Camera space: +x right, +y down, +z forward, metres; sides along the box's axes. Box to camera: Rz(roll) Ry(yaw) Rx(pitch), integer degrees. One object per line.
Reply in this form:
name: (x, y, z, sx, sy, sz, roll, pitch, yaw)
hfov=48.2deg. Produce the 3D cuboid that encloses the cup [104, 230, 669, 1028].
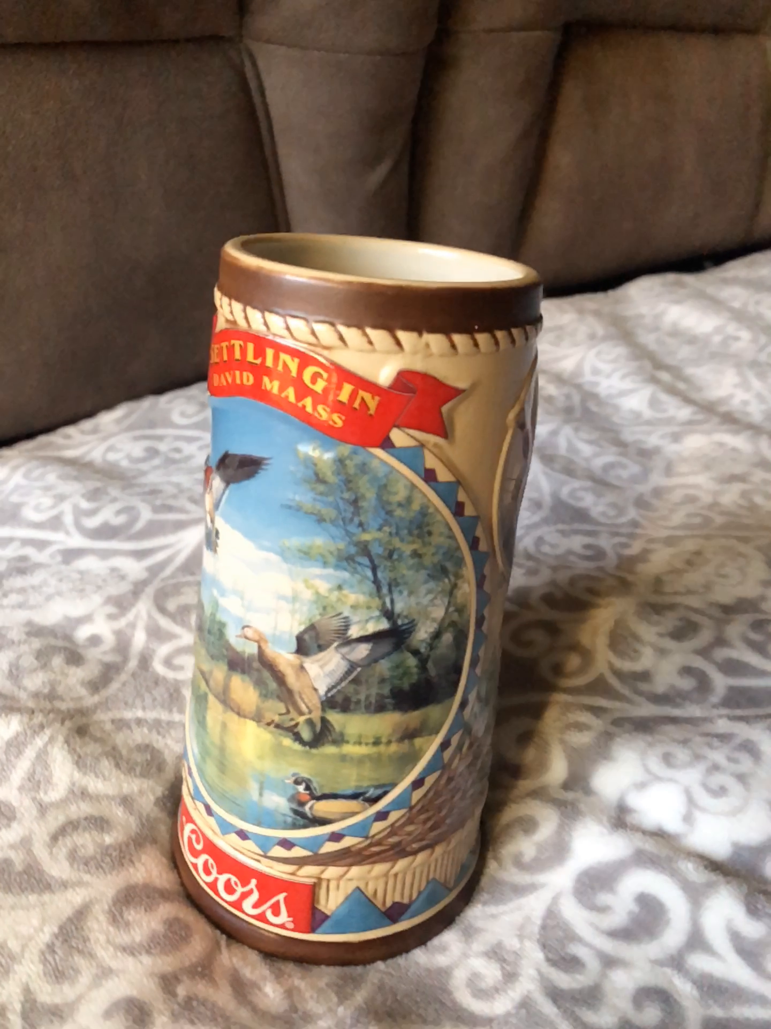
cup: (0.003, 0.016, 0.270, 0.099, 0.189, 0.145, 17, 24, 24)
